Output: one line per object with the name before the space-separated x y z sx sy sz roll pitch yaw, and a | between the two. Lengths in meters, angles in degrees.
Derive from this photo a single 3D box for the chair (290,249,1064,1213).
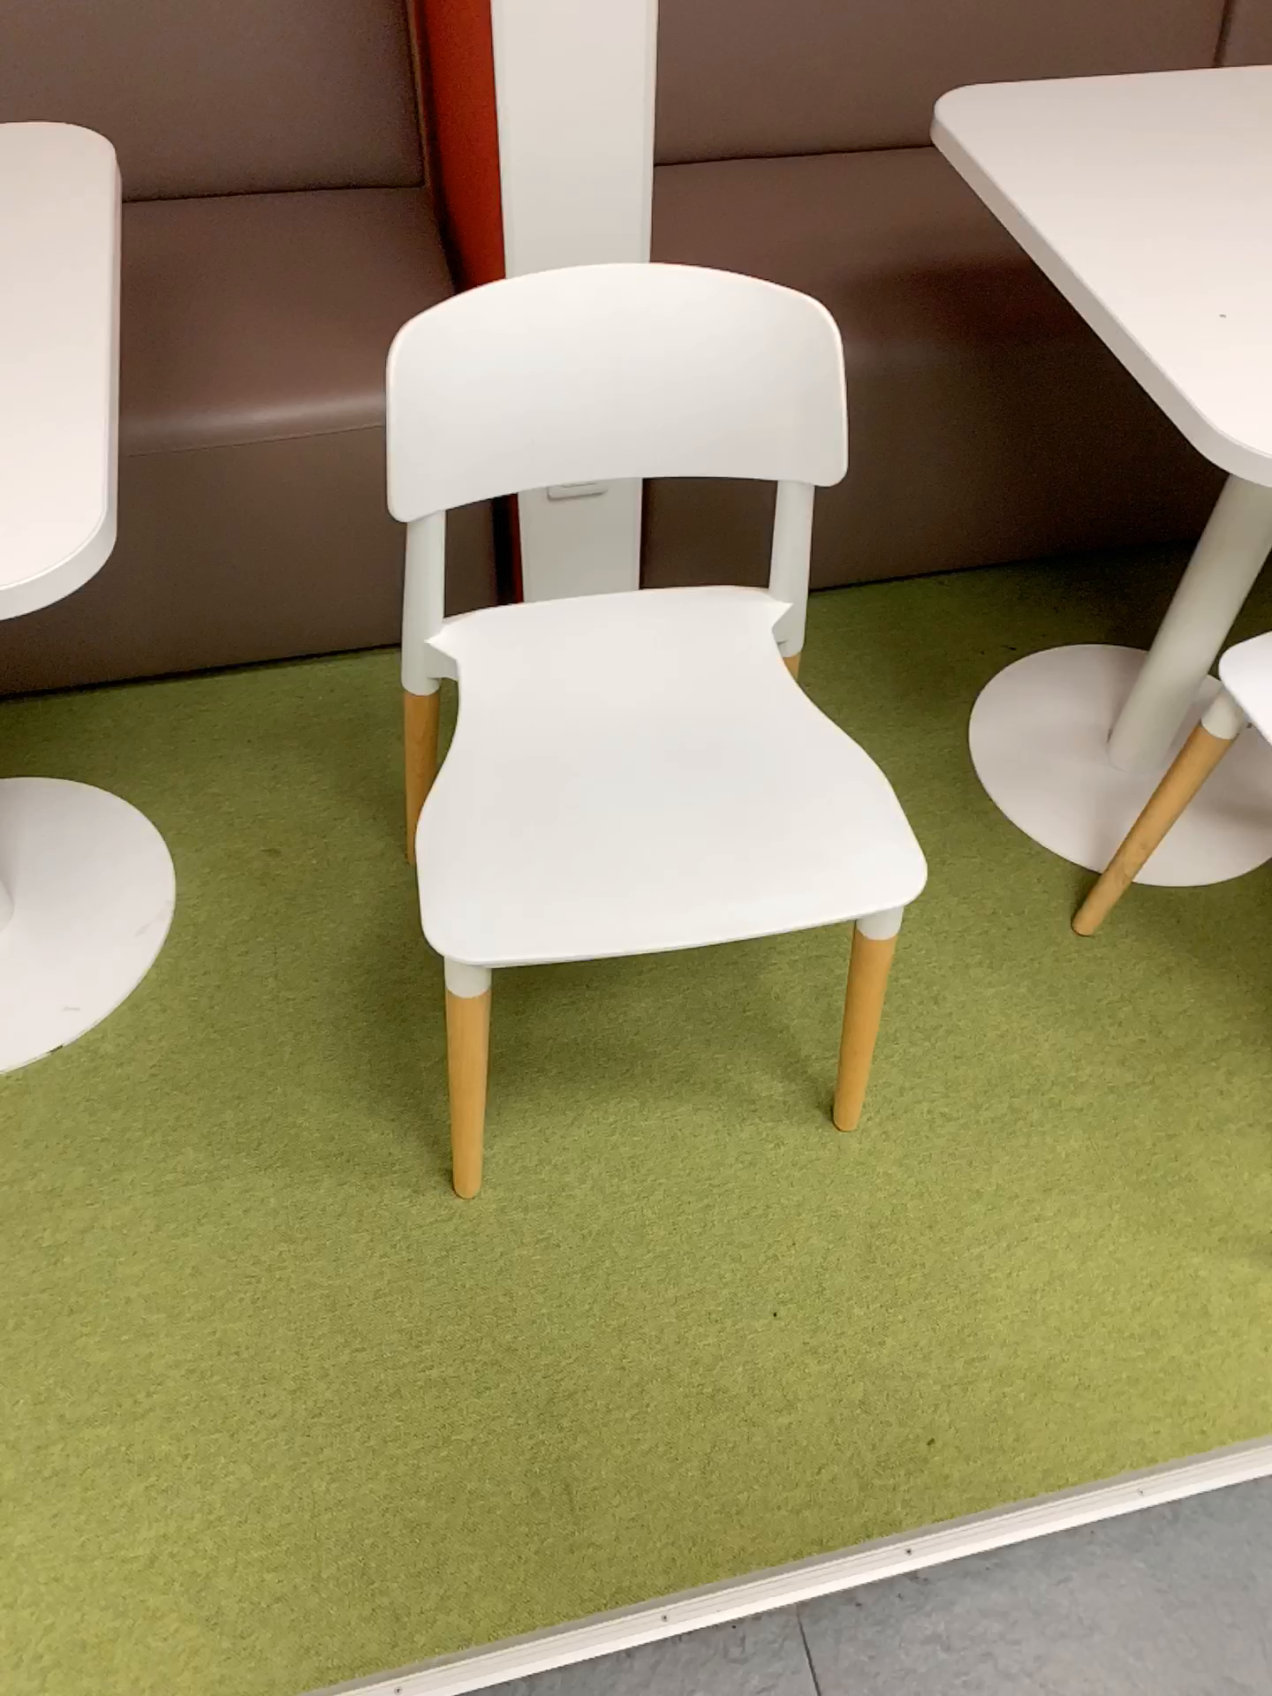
chair | -0.018 -0.074 1.292 0.500 0.787 0.502 -7 52 -8
